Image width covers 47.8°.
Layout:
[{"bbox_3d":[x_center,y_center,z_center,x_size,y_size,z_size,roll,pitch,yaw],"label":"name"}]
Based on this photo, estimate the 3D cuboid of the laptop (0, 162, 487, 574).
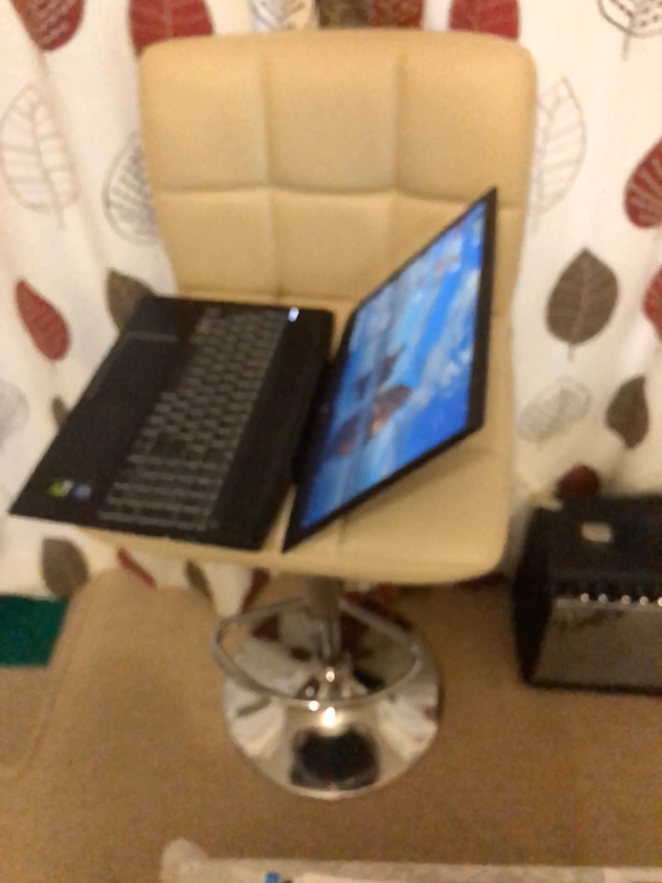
[{"bbox_3d":[-0.069,-0.096,0.709,0.400,0.159,0.350,7,45,8],"label":"laptop"}]
